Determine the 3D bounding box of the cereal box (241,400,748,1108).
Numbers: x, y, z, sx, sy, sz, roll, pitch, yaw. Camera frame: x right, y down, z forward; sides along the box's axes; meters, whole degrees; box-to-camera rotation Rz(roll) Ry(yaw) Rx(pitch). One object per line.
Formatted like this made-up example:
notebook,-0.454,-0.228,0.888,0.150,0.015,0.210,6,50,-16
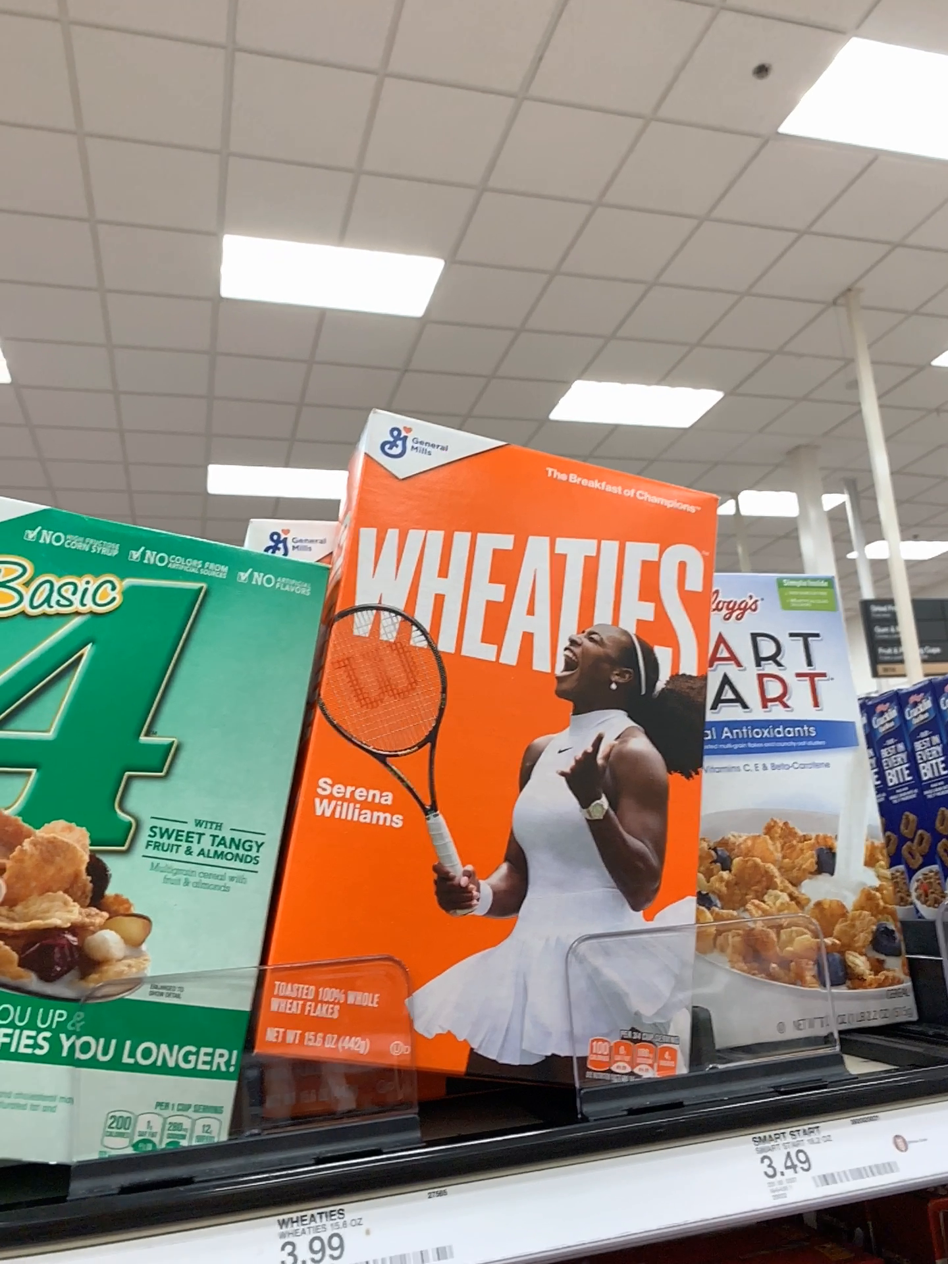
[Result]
cereal box,0.019,0.056,0.475,0.200,0.291,0.070,12,-18,-12
